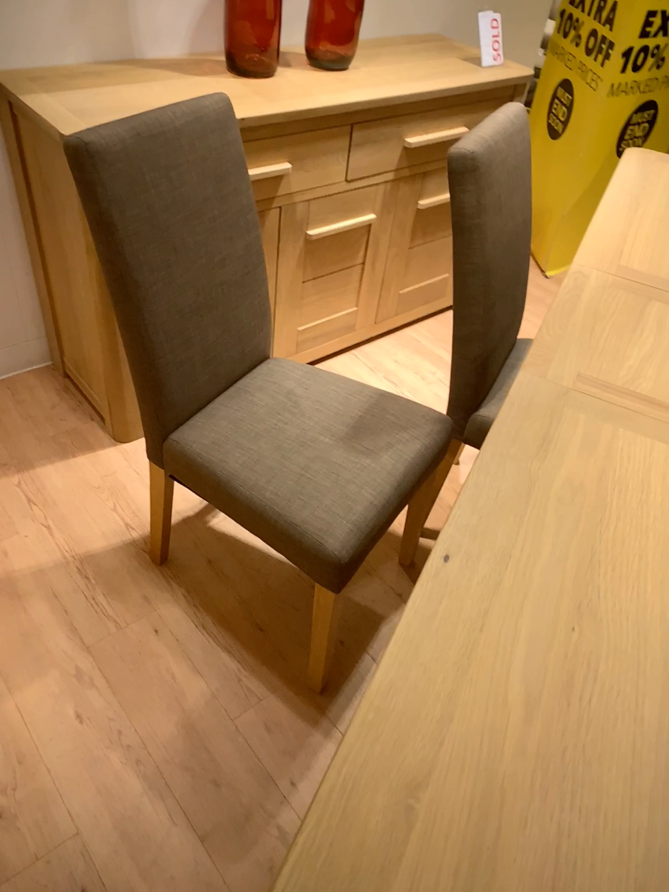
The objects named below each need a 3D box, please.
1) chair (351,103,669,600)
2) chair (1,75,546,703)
[{"bbox_3d":[0.417,-0.193,1.421,0.504,0.765,0.500,24,44,16],"label":"chair"},{"bbox_3d":[-0.109,-0.095,1.278,0.605,0.884,0.510,27,45,19],"label":"chair"}]
